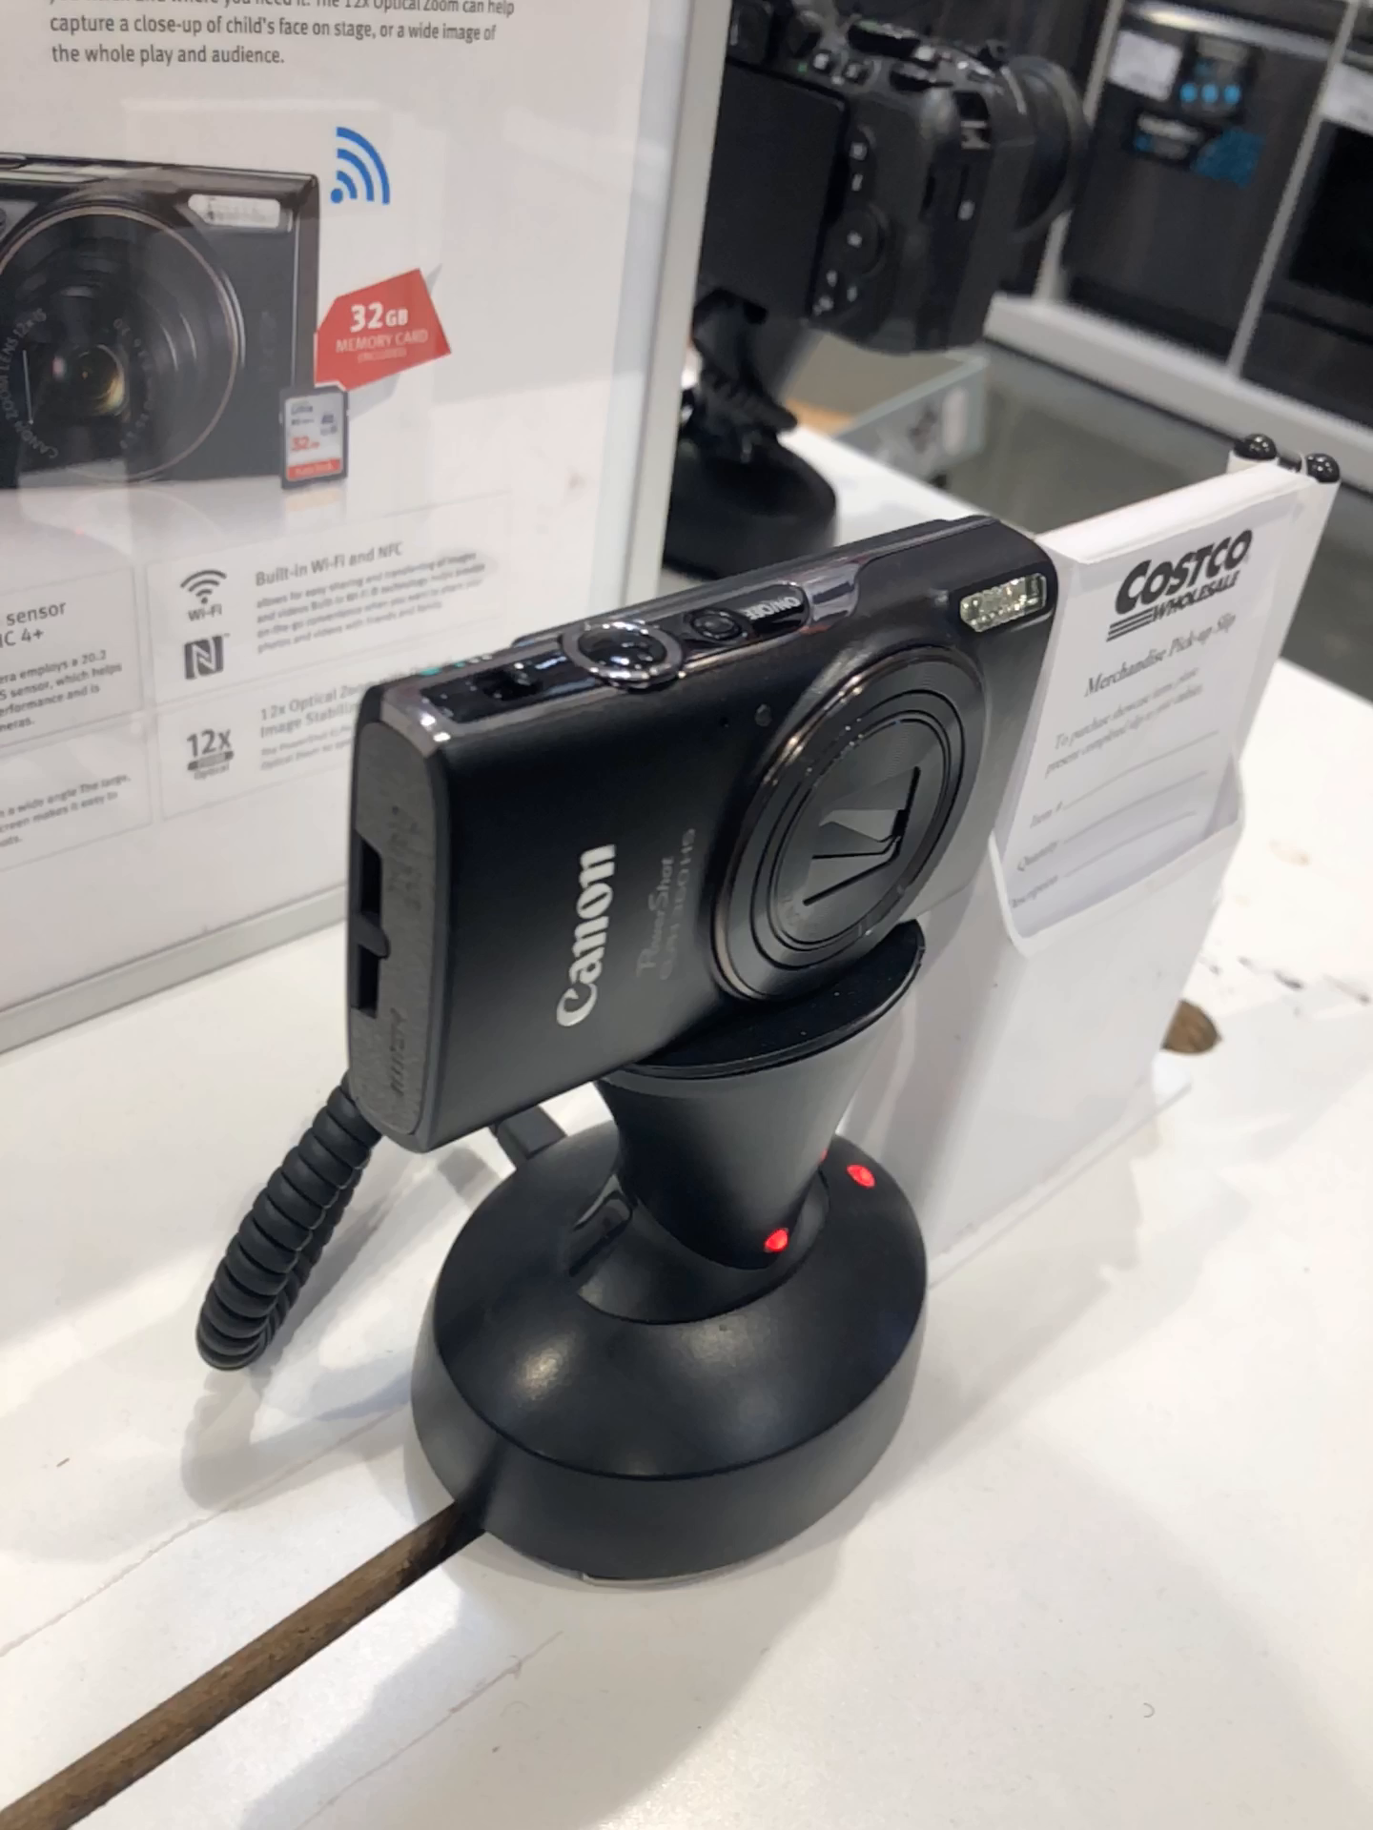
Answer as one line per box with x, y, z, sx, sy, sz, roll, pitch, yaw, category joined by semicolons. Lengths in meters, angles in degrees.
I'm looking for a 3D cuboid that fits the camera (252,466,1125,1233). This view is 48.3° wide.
0.003;-0.014;0.193;0.110;0.060;0.030;-24;48;-37;camera
